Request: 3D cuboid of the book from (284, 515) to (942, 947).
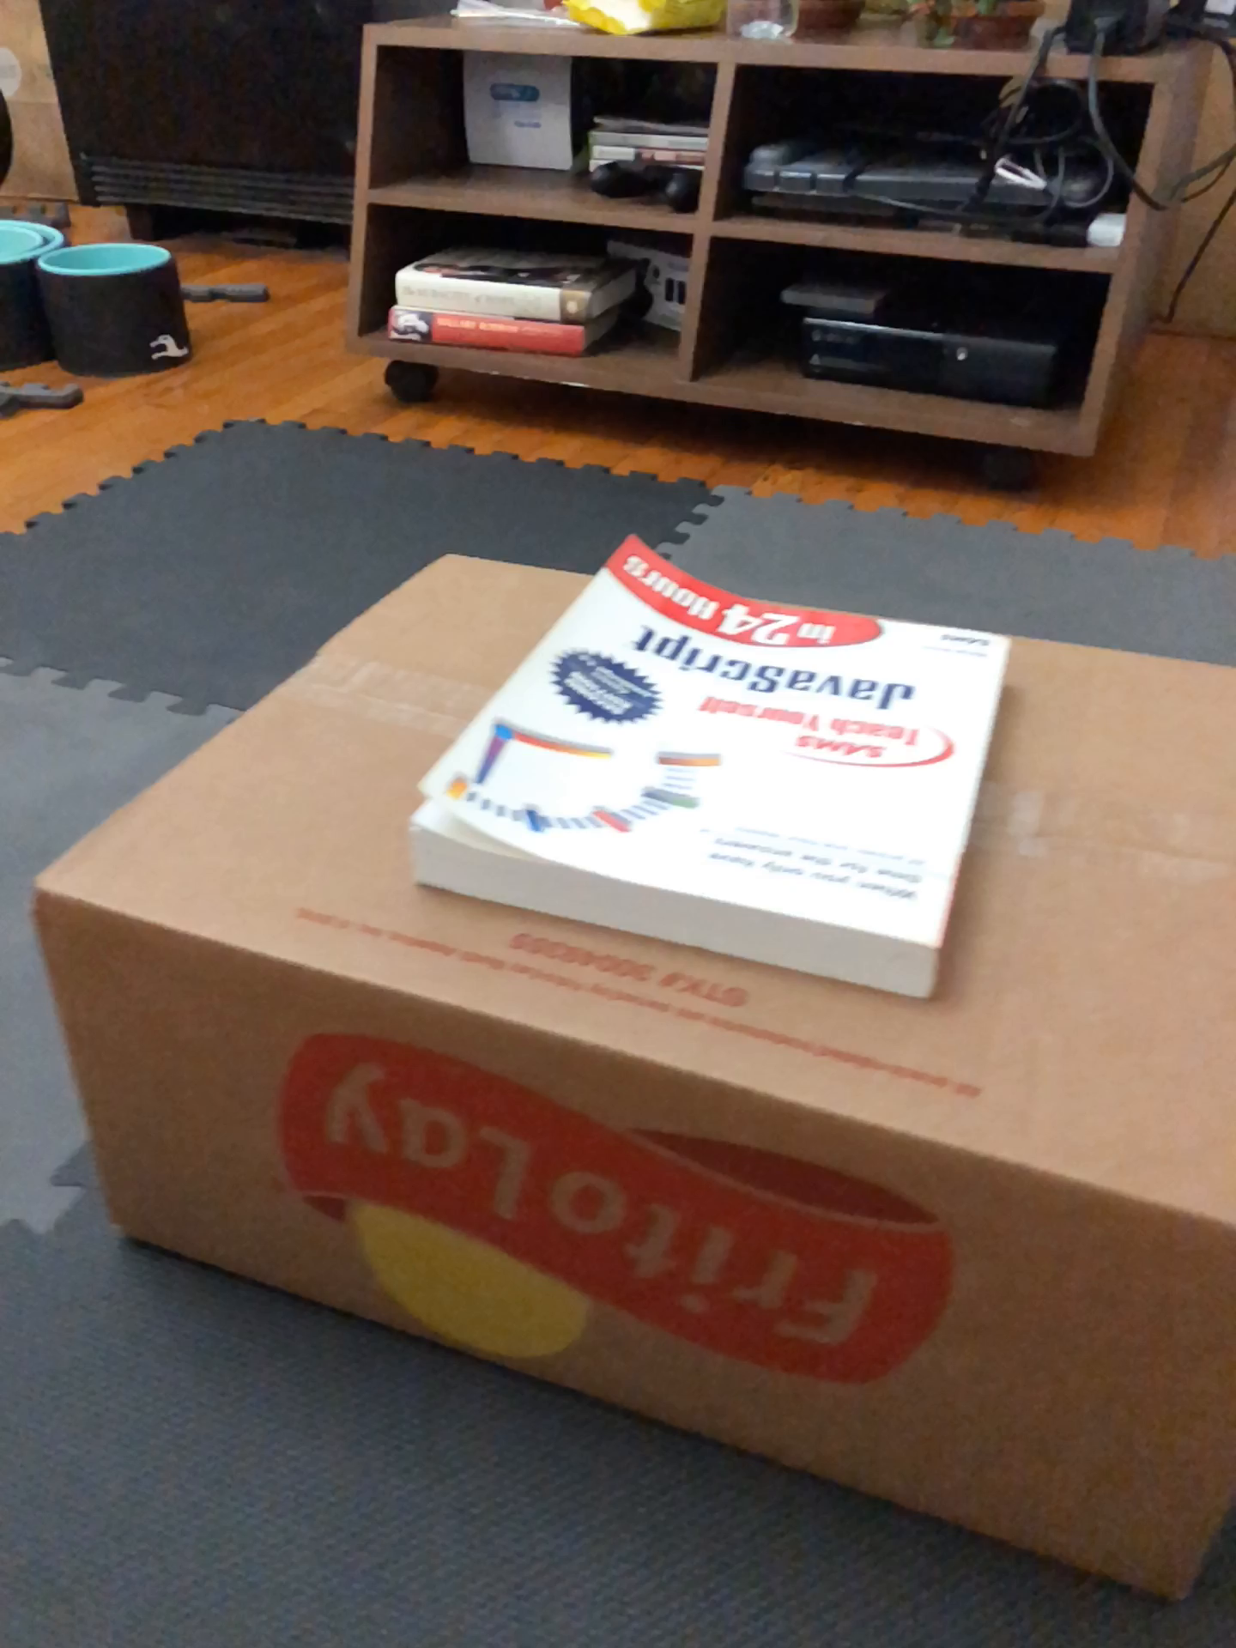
[{"bbox_3d":[0.014,-0.056,0.557,0.200,0.030,0.242,11,37,15],"label":"book"}]
